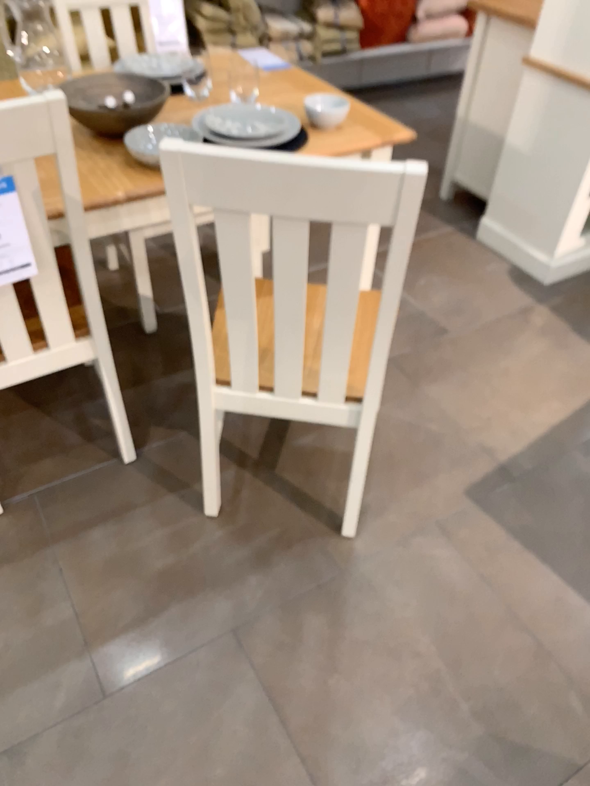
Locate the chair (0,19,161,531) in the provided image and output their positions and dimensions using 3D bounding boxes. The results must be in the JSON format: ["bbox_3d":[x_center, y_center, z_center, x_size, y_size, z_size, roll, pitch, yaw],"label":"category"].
[{"bbox_3d":[-0.675,-0.247,1.402,0.473,0.924,0.539,-19,47,-22],"label":"chair"}]

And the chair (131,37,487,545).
[{"bbox_3d":[0.030,-0.188,1.370,0.501,0.924,0.551,7,43,4],"label":"chair"}]
